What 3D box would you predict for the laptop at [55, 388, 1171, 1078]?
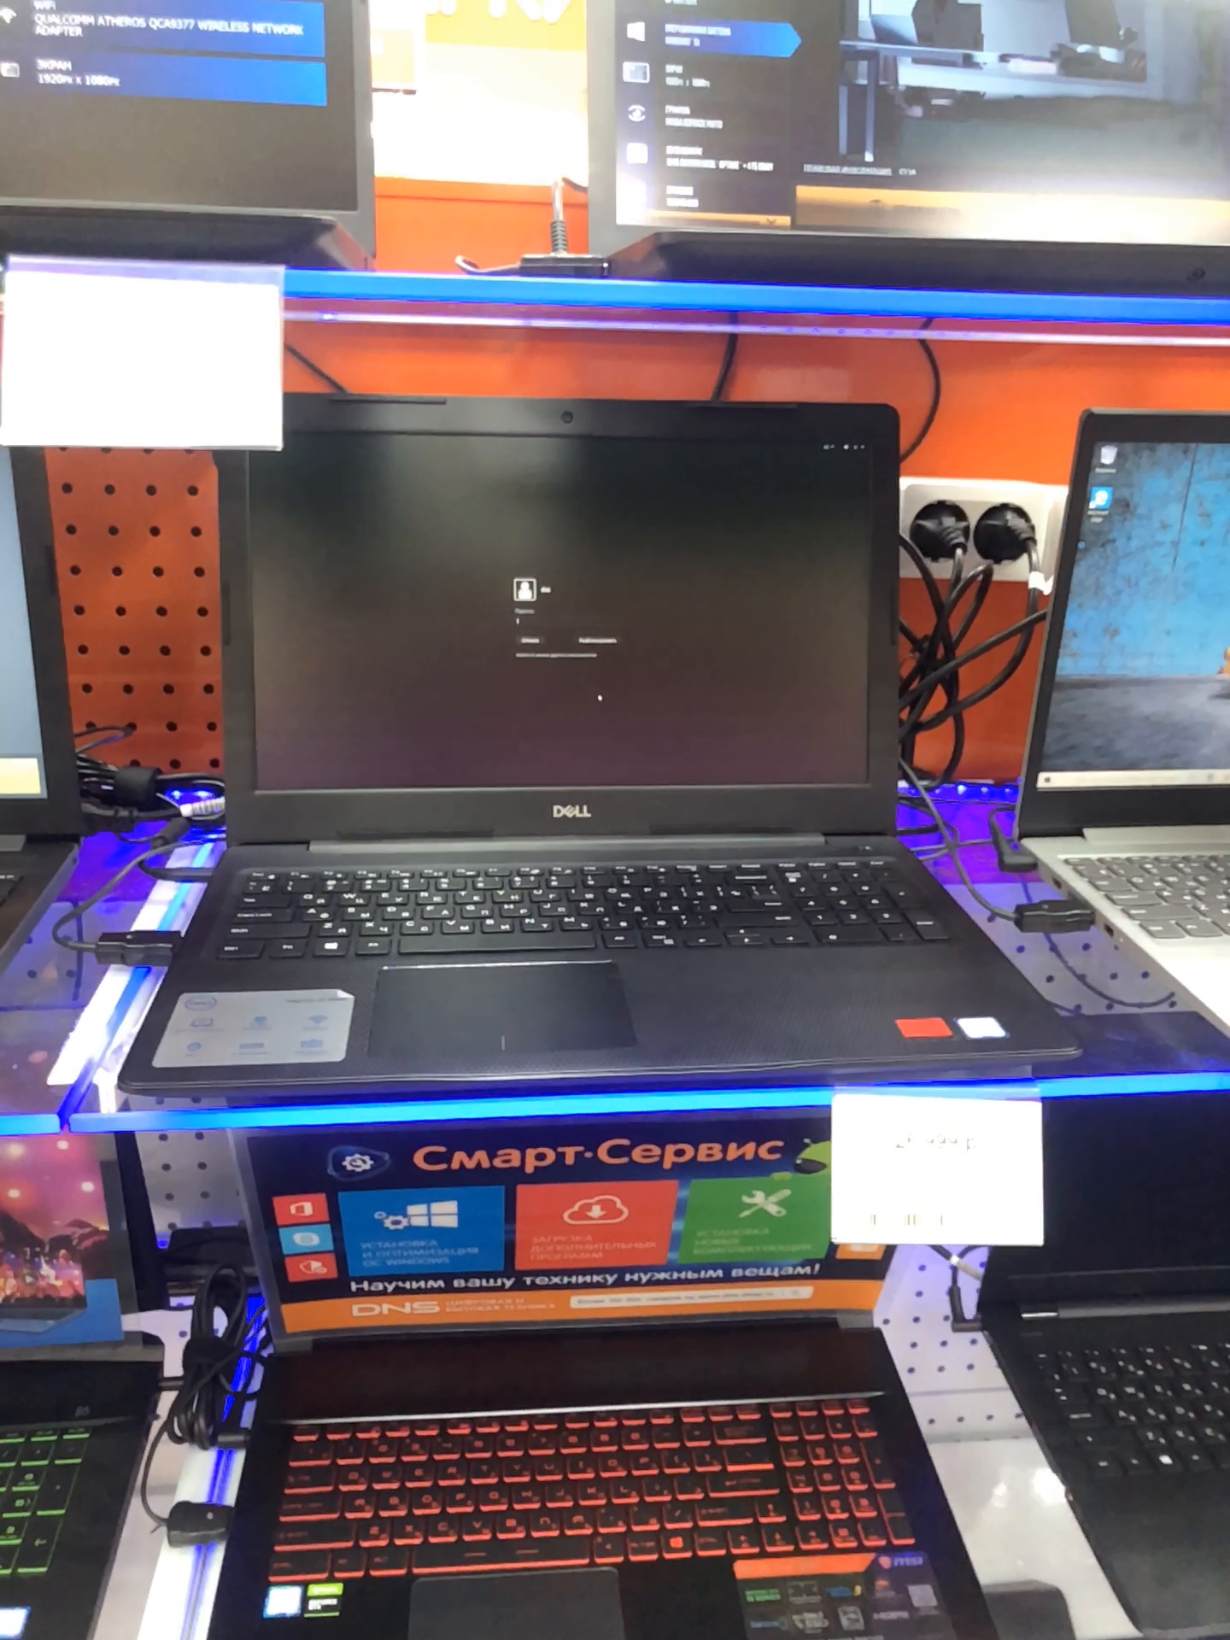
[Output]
[{"bbox_3d":[-0.013,-0.071,0.632,0.373,0.233,0.317,-1,18,-8],"label":"laptop"}]
